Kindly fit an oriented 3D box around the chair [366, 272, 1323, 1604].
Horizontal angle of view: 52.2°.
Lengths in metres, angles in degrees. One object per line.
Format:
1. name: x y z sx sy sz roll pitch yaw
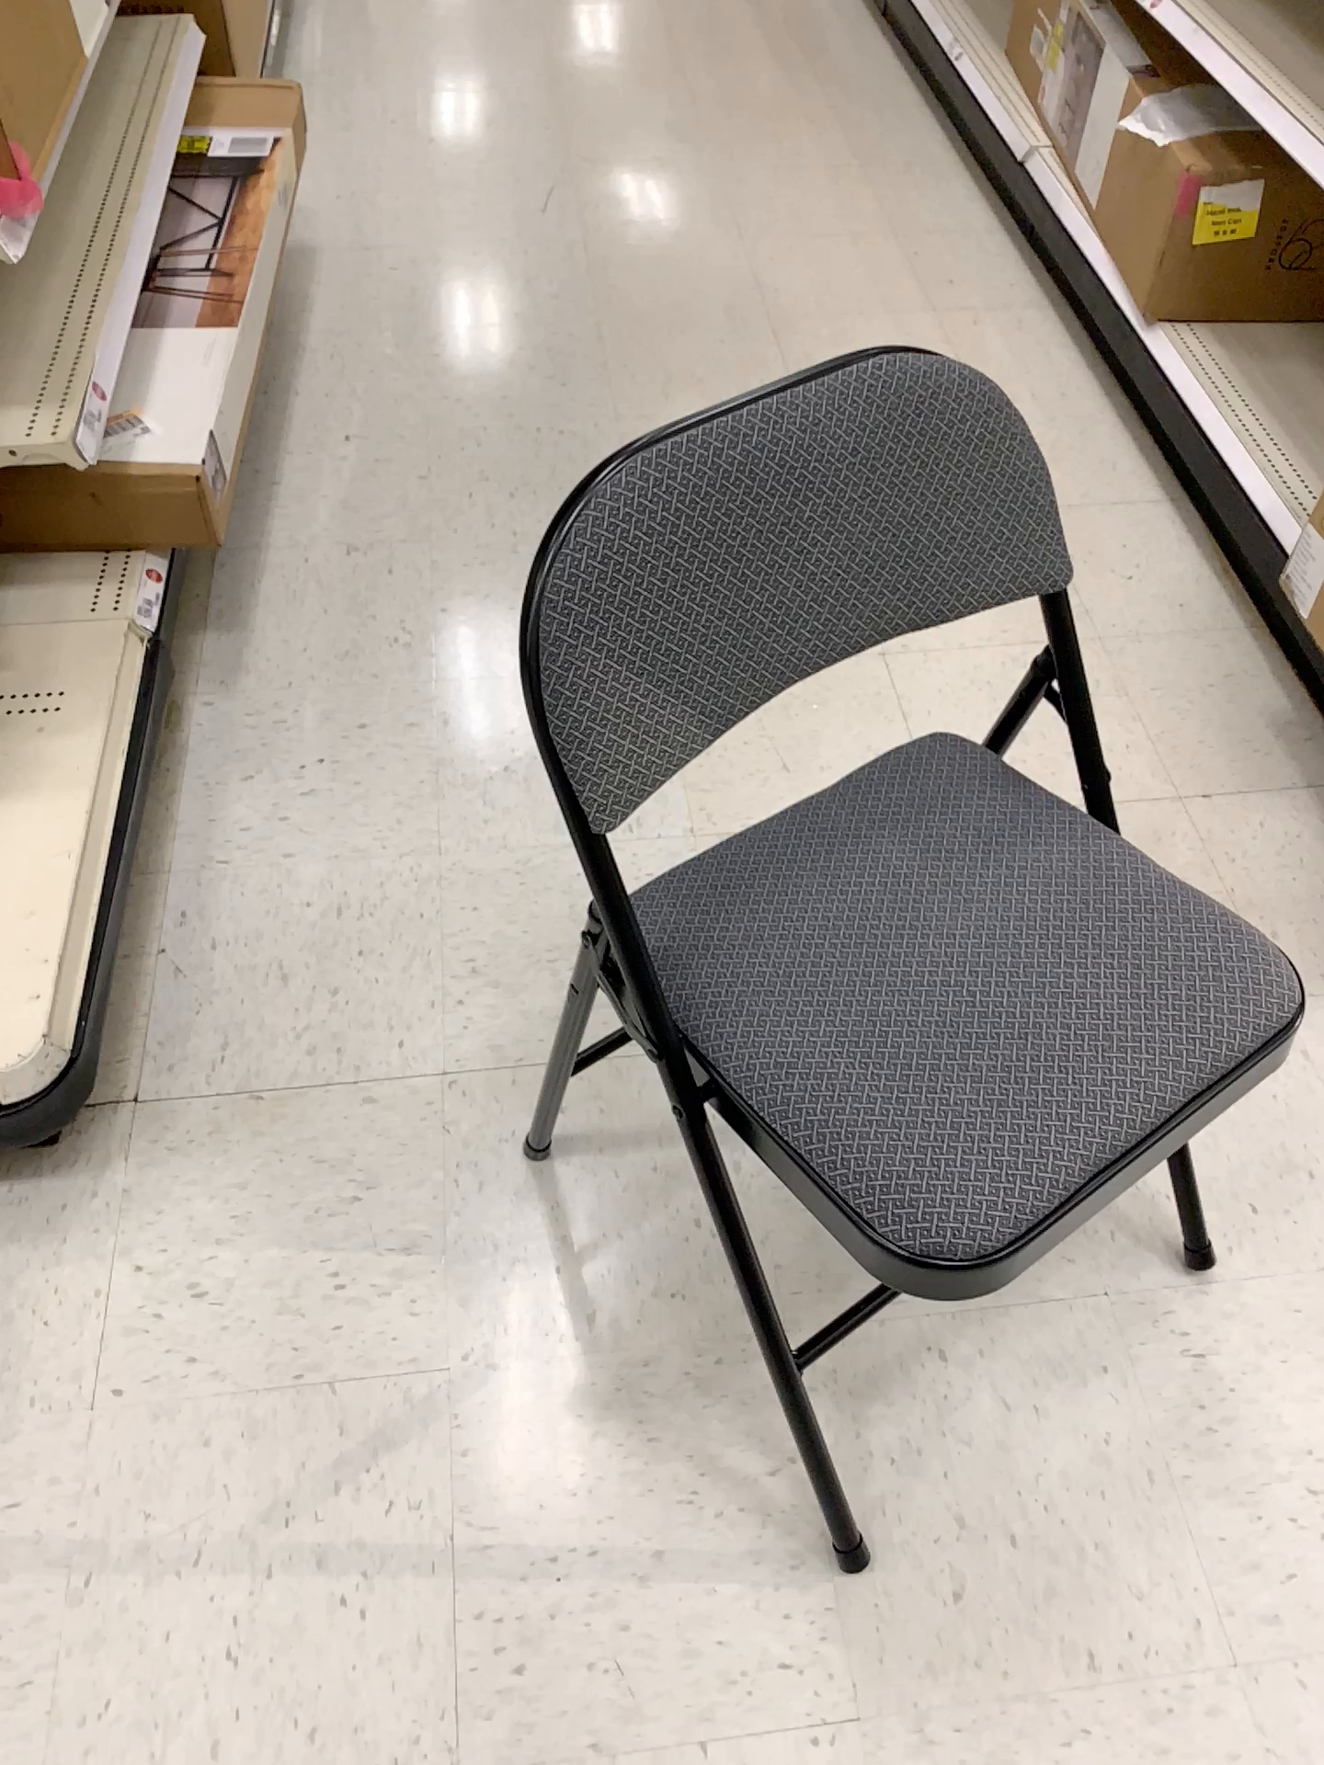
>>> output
1. chair: 0.183 0.051 1.015 0.501 0.677 0.551 -29 57 -24
